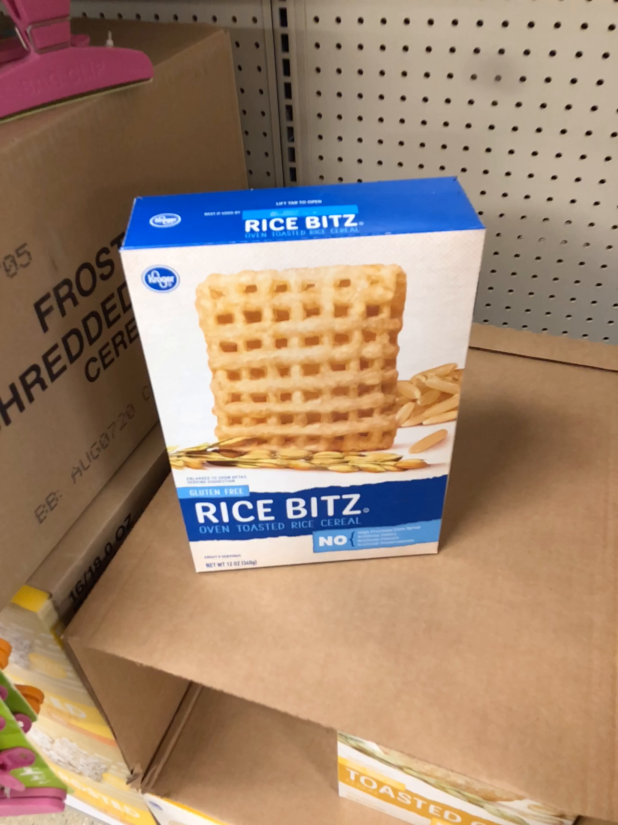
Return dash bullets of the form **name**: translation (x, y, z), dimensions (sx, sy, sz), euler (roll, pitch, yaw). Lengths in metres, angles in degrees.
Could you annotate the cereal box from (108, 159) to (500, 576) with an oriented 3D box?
- **cereal box**: translation (0.002, -0.010, 0.464), dimensions (0.200, 0.289, 0.070), euler (-4, 41, -1)
